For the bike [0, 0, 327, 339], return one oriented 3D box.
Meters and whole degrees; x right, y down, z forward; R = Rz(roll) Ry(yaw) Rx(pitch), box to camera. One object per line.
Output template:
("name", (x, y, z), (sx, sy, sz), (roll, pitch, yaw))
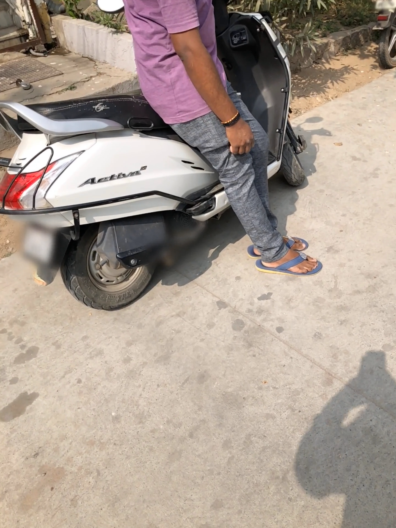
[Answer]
("bike", (-0.117, -0.647, 1.875), (0.647, 1.008, 1.530), (23, 48, 30))
